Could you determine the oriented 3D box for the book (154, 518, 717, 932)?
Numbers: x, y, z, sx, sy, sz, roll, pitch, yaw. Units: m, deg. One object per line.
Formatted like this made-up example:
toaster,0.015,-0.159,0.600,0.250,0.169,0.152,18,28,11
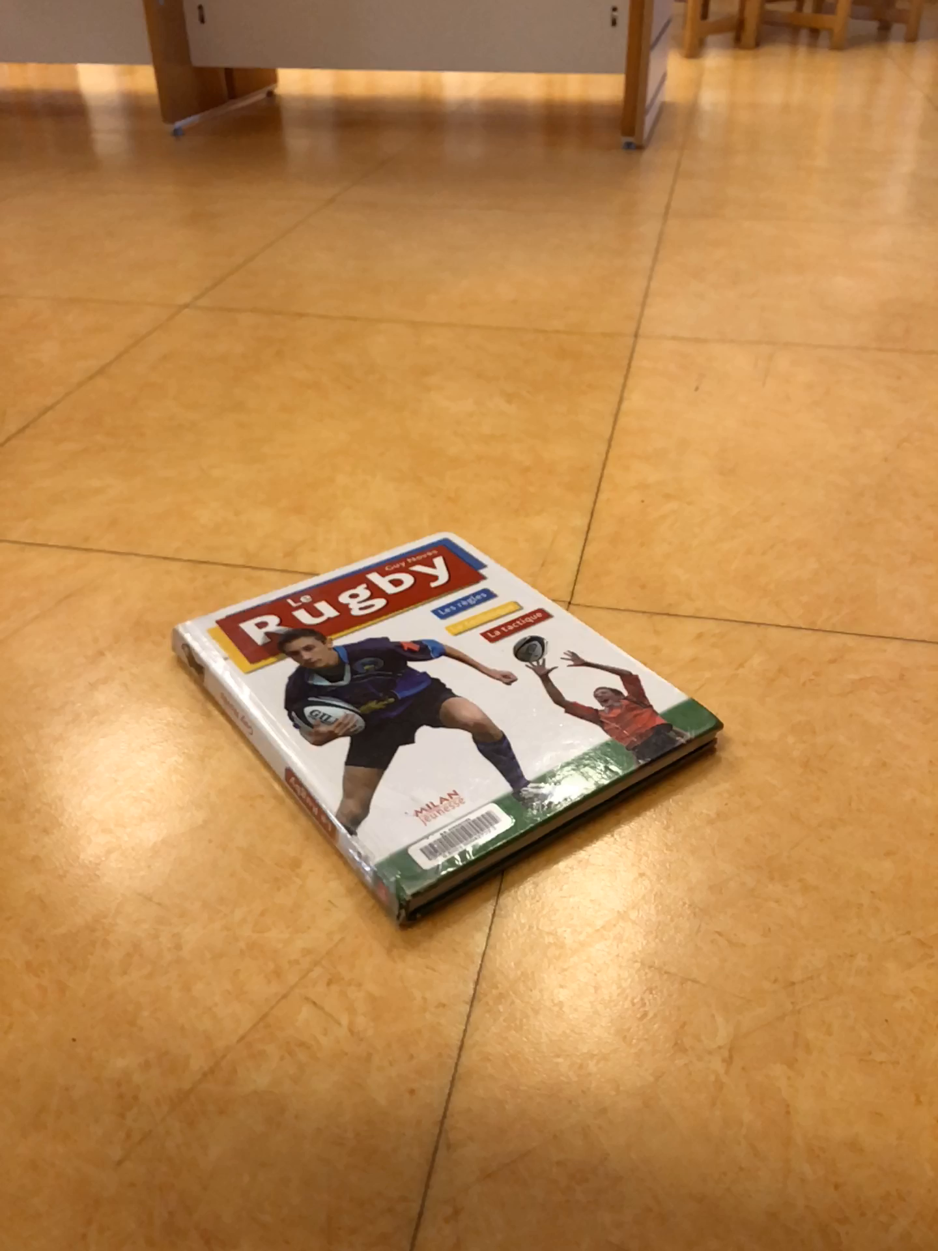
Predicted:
book,-0.029,0.030,0.583,0.204,0.024,0.261,-22,40,-28
